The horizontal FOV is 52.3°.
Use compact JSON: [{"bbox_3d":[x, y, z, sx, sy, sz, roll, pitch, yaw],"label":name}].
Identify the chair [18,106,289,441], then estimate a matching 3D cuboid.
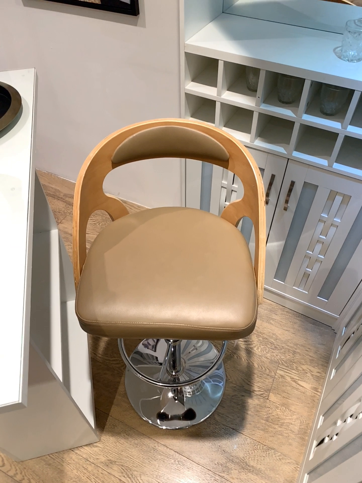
[{"bbox_3d":[-0.024,0.203,1.124,0.430,1.047,0.461,4,49,4],"label":"chair"}]
